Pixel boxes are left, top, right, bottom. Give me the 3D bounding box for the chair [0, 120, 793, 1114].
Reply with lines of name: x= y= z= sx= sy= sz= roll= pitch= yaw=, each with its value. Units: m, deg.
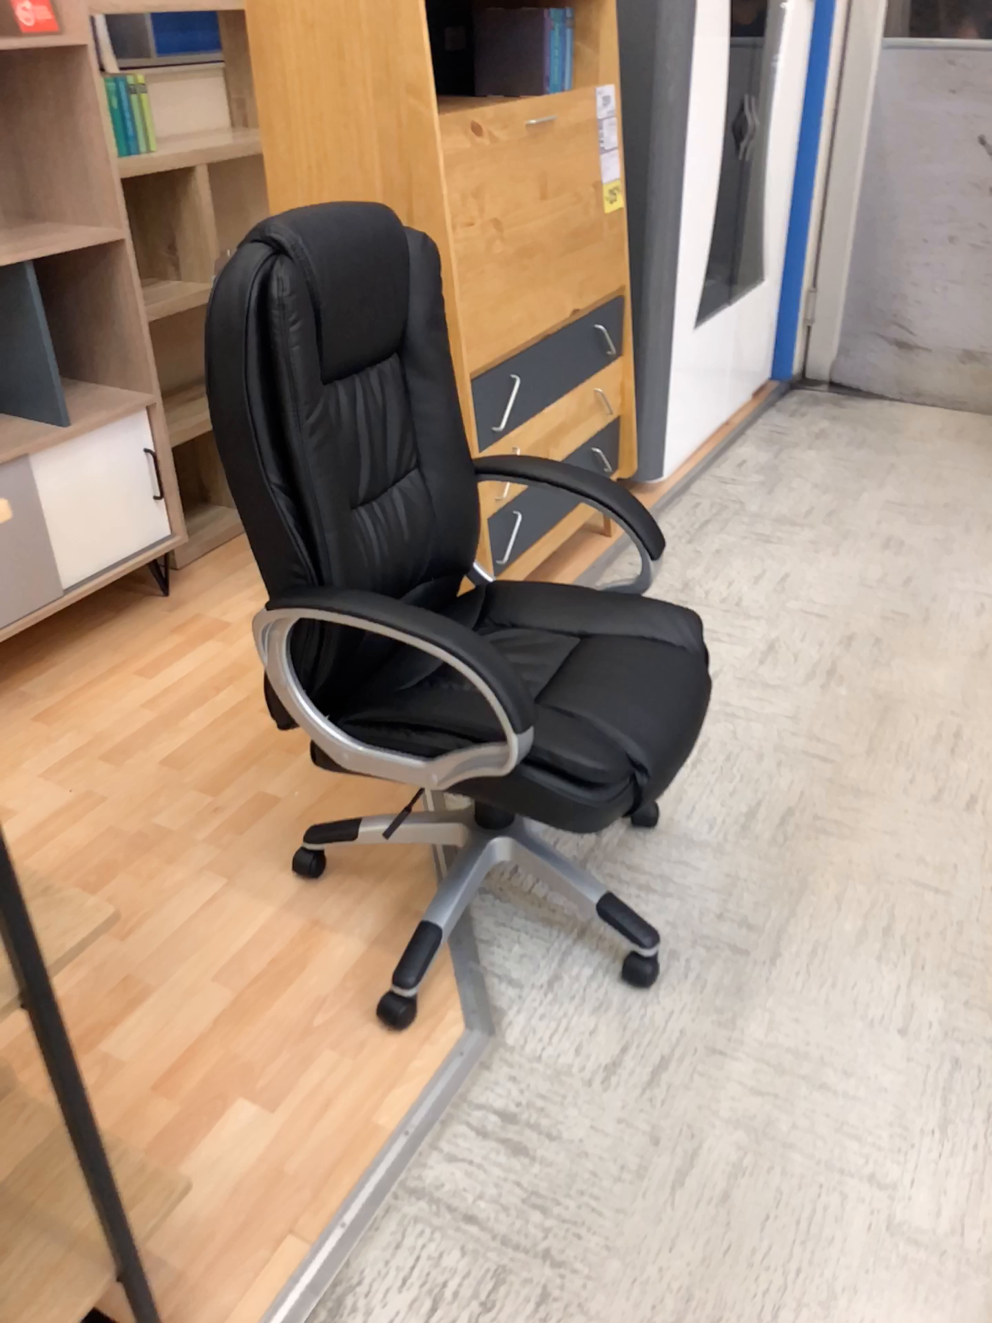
chair: x=-0.043 y=-0.132 z=1.501 sx=0.679 sy=1.064 sz=0.765 roll=9 pitch=32 yaw=19
